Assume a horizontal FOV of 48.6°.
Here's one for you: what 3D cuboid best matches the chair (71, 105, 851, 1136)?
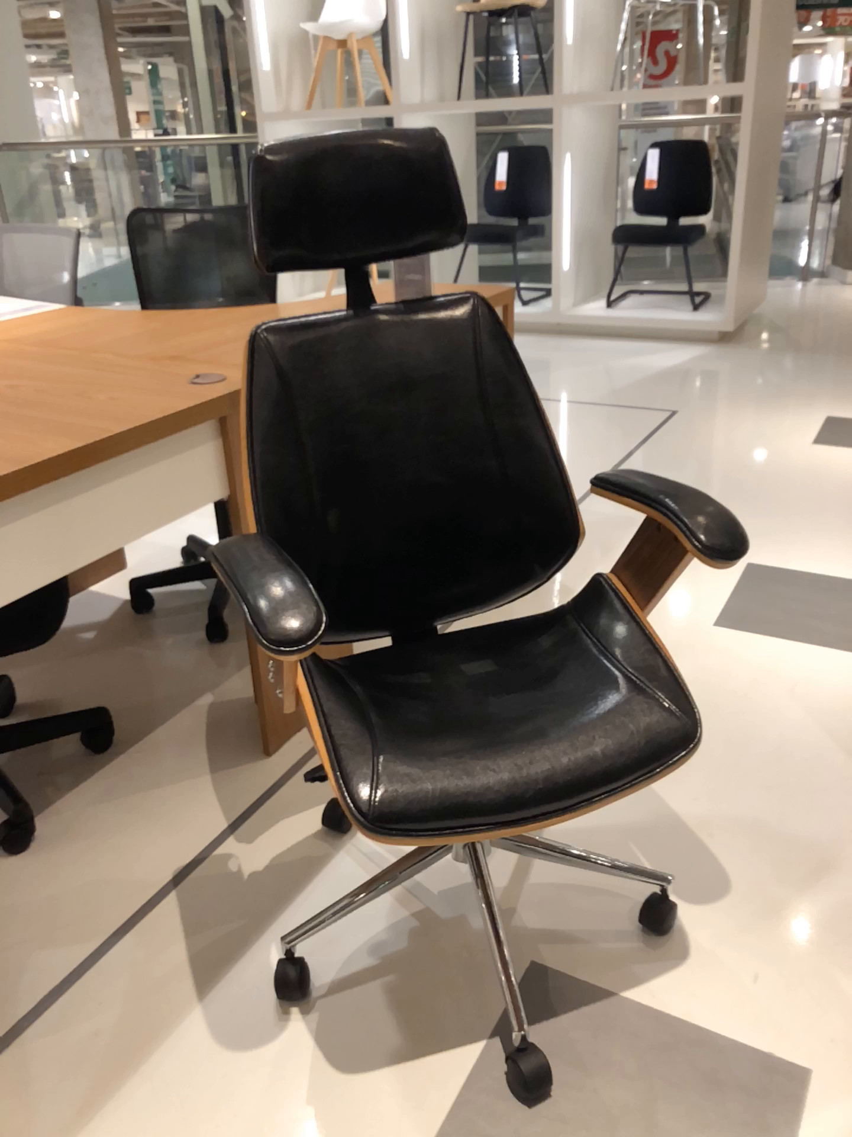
[{"bbox_3d":[0.036,0.014,1.276,0.721,1.102,0.764,-12,26,-20],"label":"chair"}]
